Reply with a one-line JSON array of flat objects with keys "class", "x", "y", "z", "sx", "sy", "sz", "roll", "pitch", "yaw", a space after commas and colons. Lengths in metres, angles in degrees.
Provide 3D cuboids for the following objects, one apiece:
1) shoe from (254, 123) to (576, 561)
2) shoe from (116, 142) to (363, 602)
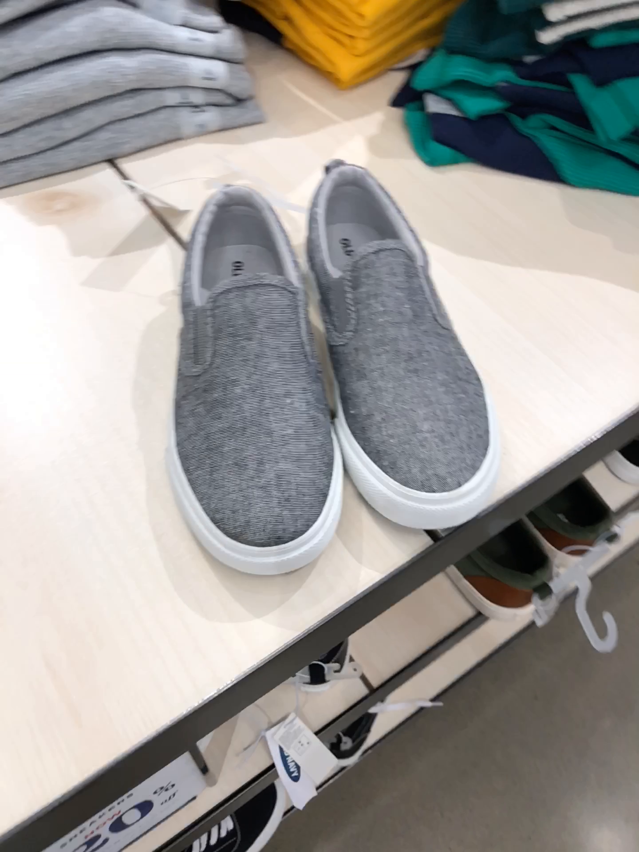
[{"class": "shoe", "x": 0.033, "y": -0.053, "z": 0.381, "sx": 0.090, "sy": 0.100, "sz": 0.210, "roll": -11, "pitch": 55, "yaw": -10}, {"class": "shoe", "x": -0.046, "y": -0.035, "z": 0.359, "sx": 0.090, "sy": 0.100, "sz": 0.210, "roll": -6, "pitch": 55, "yaw": -6}]
